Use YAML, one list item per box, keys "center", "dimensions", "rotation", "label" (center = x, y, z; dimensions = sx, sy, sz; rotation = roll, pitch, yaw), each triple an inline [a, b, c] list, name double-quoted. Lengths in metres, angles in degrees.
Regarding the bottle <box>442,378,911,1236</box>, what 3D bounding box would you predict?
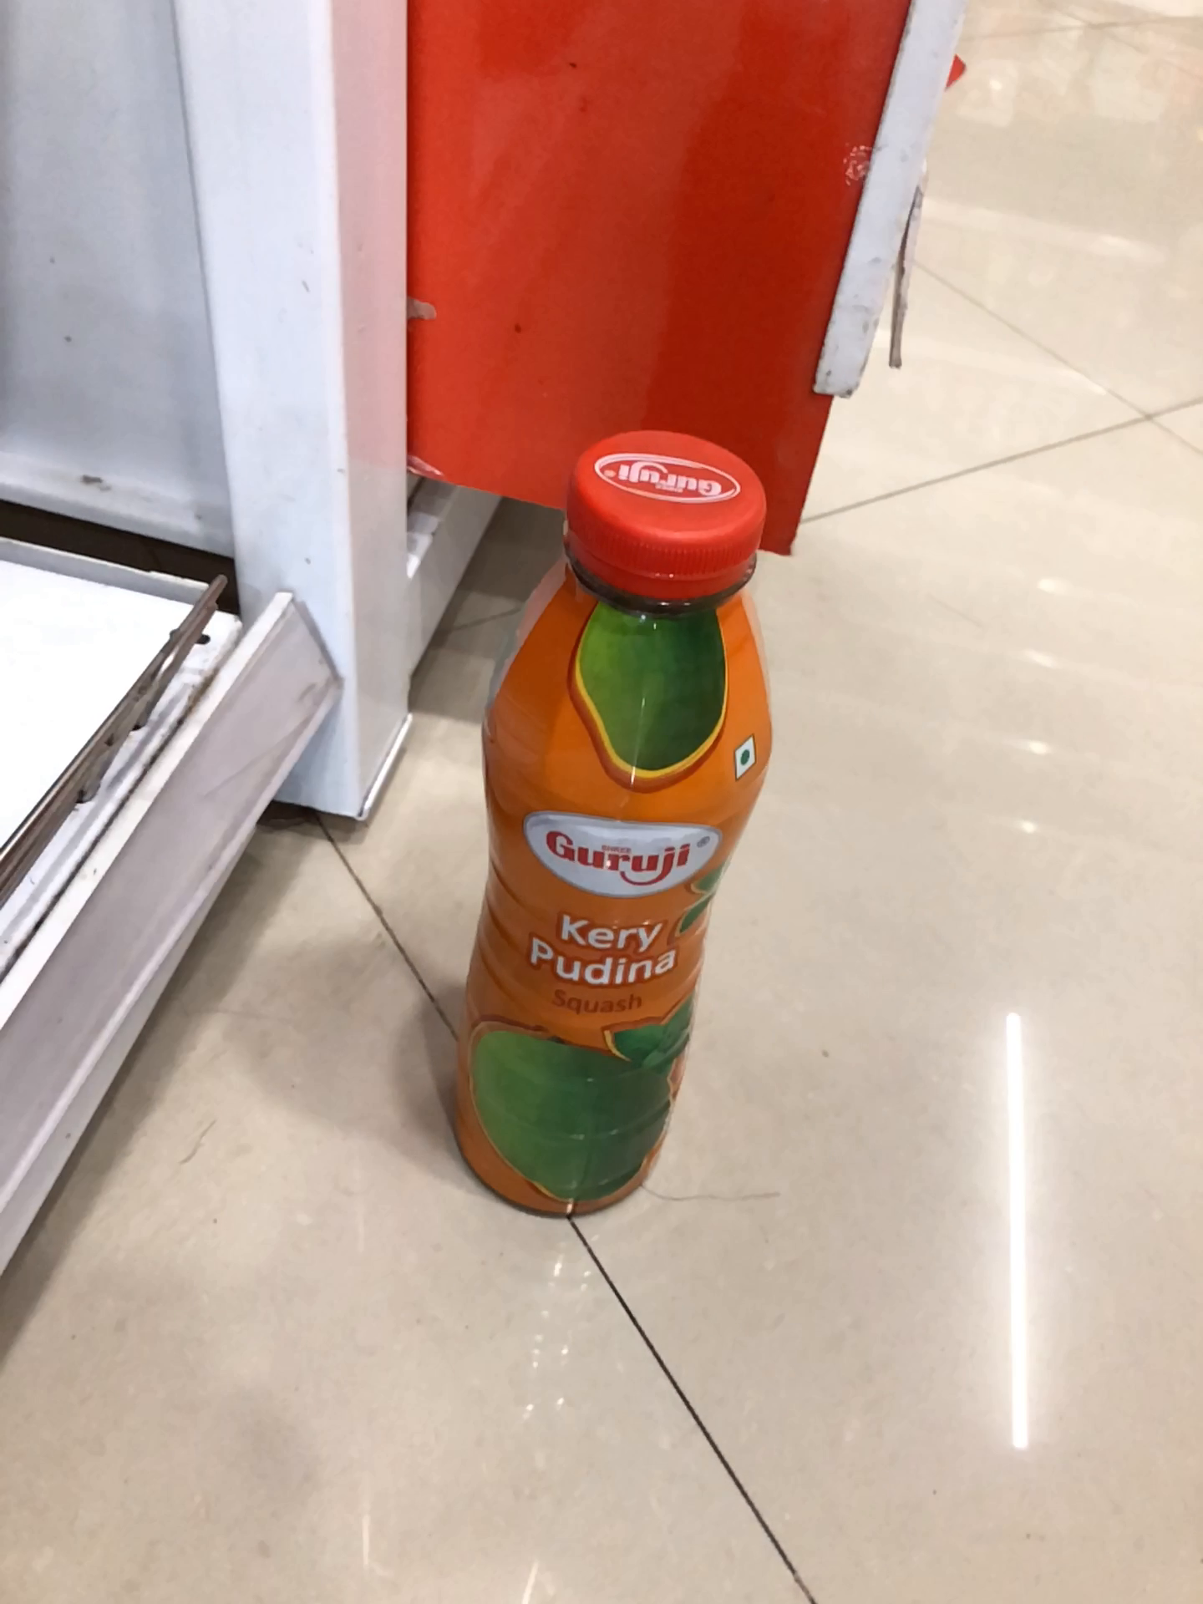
- center: [0.003, 0.021, 0.352]
  dimensions: [0.080, 0.238, 0.081]
  rotation: [4, 46, -4]
  label: "bottle"
